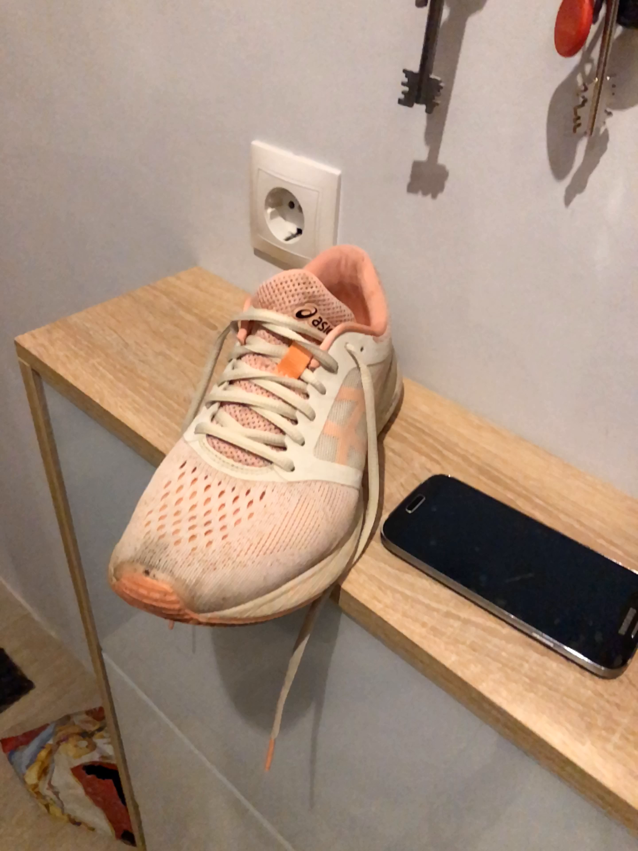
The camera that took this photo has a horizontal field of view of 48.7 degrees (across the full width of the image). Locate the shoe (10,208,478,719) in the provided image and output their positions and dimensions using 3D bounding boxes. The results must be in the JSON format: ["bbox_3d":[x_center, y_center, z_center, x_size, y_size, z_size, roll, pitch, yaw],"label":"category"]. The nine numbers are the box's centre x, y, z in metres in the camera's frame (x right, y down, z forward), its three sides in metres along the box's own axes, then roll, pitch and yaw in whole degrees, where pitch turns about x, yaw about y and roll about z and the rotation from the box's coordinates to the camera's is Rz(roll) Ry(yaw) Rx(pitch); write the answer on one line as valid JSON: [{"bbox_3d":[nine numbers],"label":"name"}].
[{"bbox_3d":[-0.012,-0.010,0.374,0.110,0.103,0.270,18,41,17],"label":"shoe"}]
